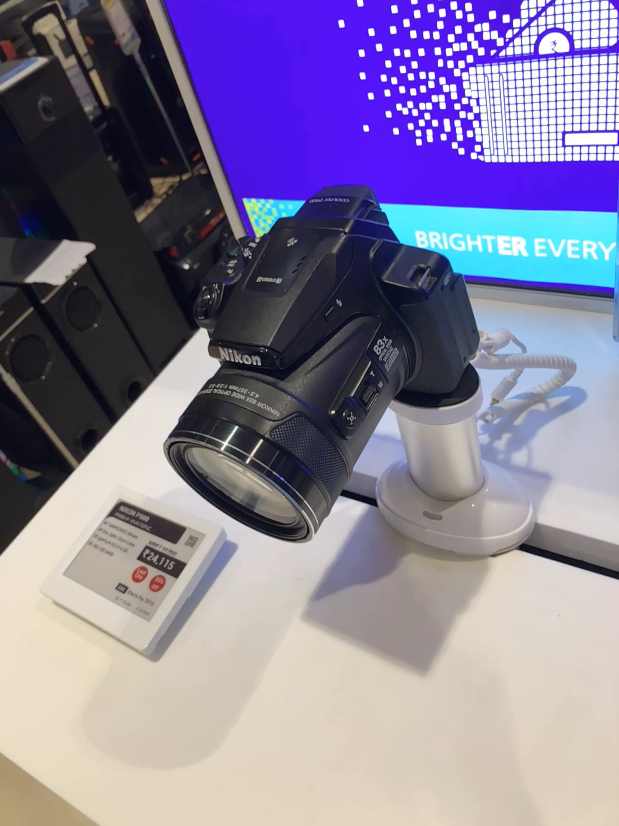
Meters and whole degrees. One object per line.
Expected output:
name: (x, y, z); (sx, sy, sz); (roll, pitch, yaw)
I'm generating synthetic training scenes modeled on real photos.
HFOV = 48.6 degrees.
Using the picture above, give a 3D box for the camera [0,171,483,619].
camera: (-0.022, -0.021, 0.295); (0.140, 0.099, 0.140); (13, 53, 31)
